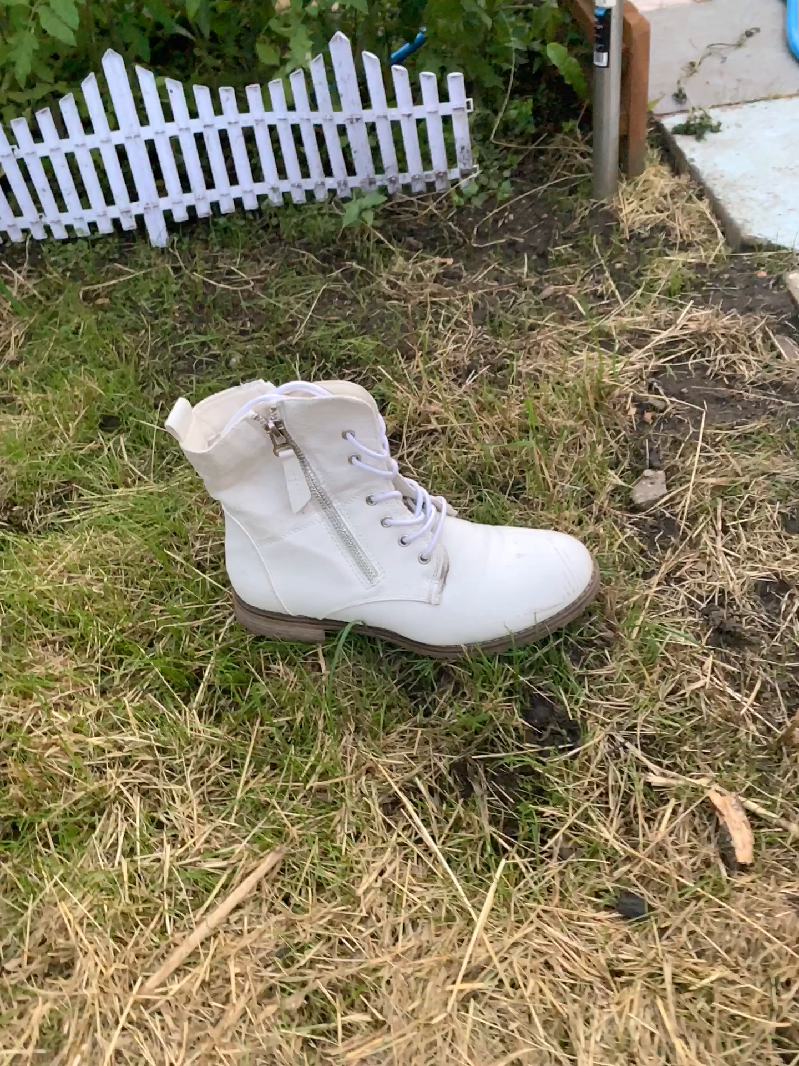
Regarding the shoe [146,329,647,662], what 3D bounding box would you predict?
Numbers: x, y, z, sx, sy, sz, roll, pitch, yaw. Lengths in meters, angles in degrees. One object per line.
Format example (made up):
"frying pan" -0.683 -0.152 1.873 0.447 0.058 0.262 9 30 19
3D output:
"shoe" 0.008 -0.014 0.518 0.260 0.178 0.101 -2 47 8
